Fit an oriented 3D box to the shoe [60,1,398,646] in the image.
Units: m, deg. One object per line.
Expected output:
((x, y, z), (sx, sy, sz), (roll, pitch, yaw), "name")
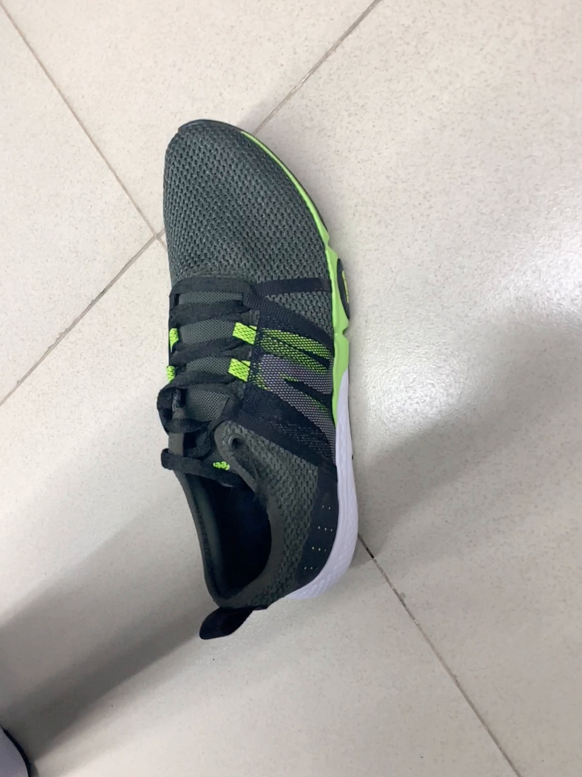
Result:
((-0.028, -0.025, 0.344), (0.110, 0.100, 0.300), (-8, 93, 26), "shoe")
